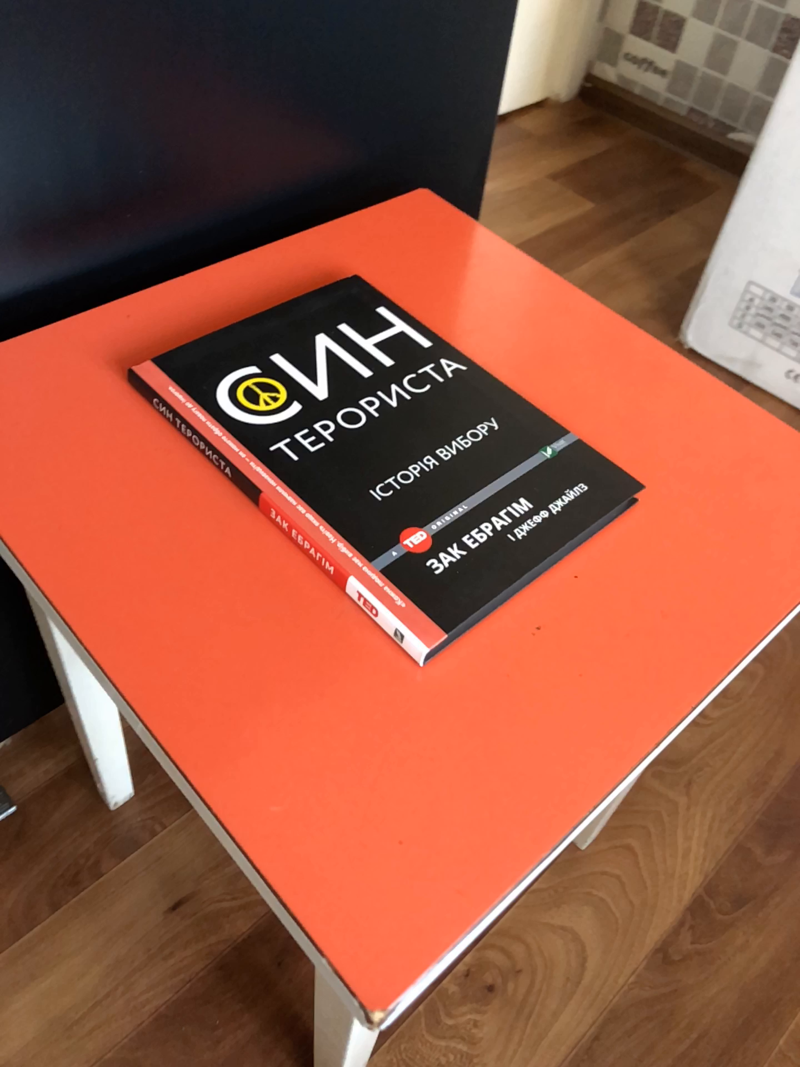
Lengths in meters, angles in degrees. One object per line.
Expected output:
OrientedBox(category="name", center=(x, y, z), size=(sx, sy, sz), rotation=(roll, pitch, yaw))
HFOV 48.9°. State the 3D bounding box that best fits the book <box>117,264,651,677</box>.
OrientedBox(category="book", center=(-0.010, -0.045, 0.393), size=(0.141, 0.016, 0.198), rotation=(-32, 60, -30))
